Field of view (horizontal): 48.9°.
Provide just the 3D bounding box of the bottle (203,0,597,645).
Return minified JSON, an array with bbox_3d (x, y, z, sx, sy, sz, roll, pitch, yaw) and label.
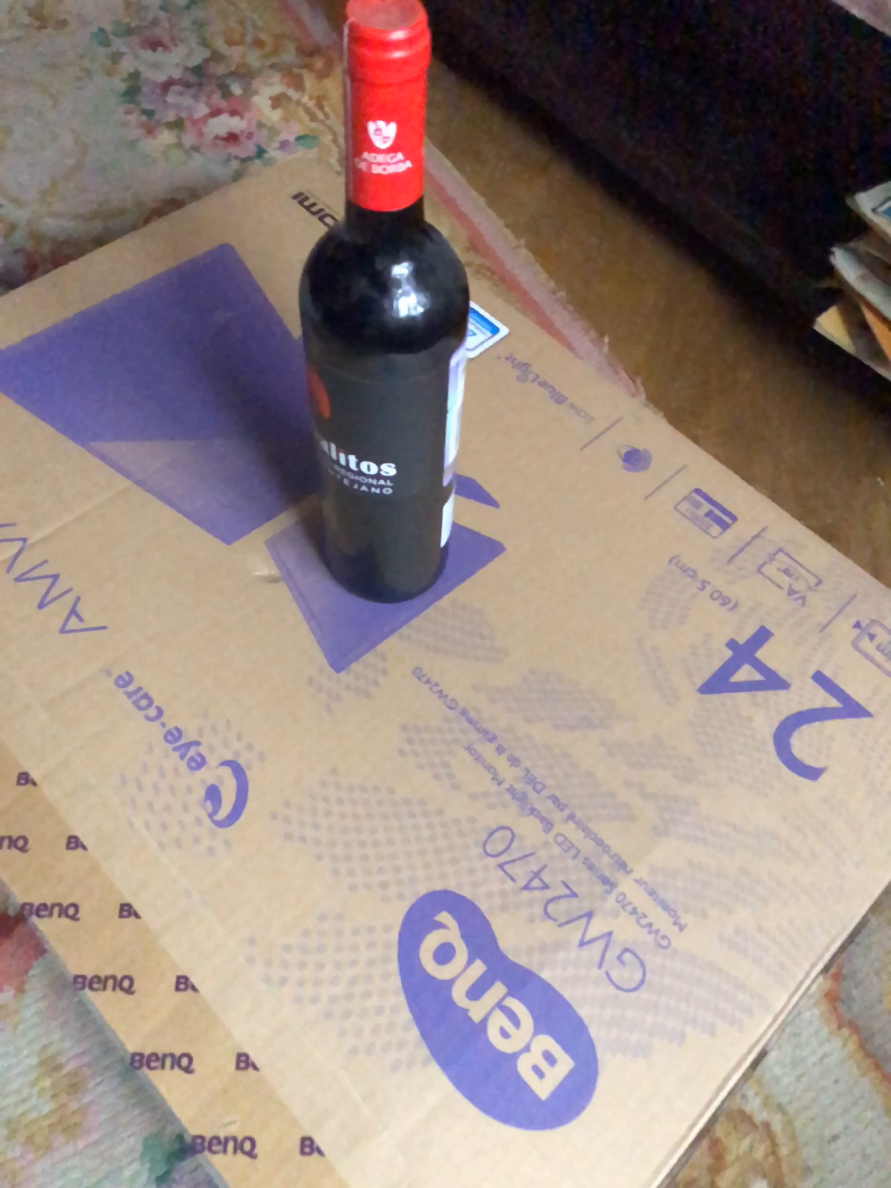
[{"bbox_3d":[-0.027,-0.104,0.443,0.090,0.299,0.090,3,58,-4],"label":"bottle"}]
